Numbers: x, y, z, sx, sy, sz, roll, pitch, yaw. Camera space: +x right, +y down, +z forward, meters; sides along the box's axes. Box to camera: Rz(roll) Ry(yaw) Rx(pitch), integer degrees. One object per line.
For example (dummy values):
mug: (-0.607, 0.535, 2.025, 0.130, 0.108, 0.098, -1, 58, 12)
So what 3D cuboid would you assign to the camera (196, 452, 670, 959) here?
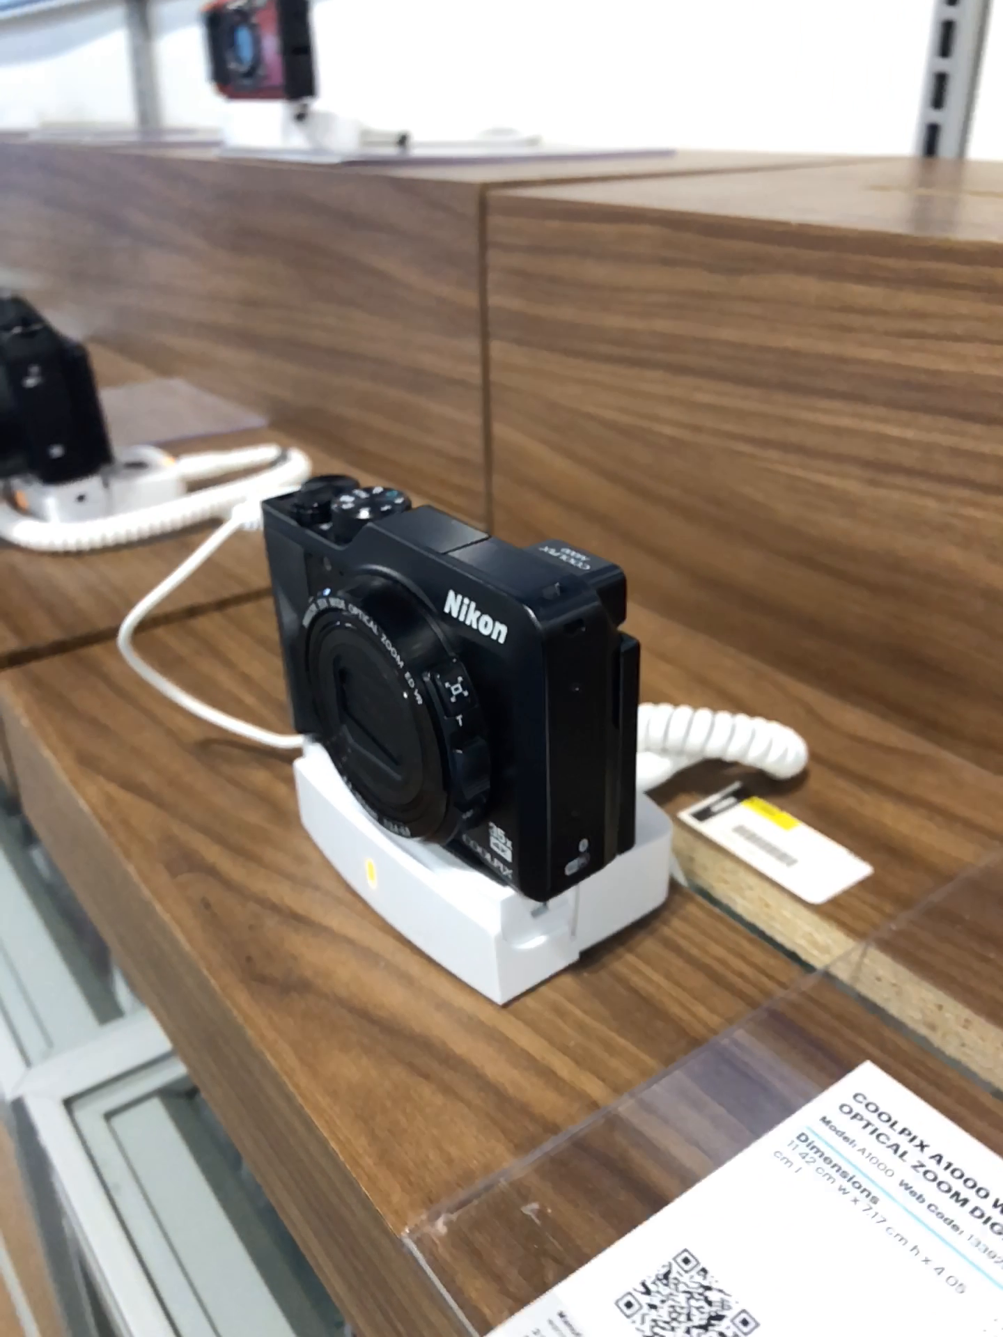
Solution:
camera: (-0.022, -0.001, 0.270, 0.050, 0.070, 0.121, -17, 31, -32)
